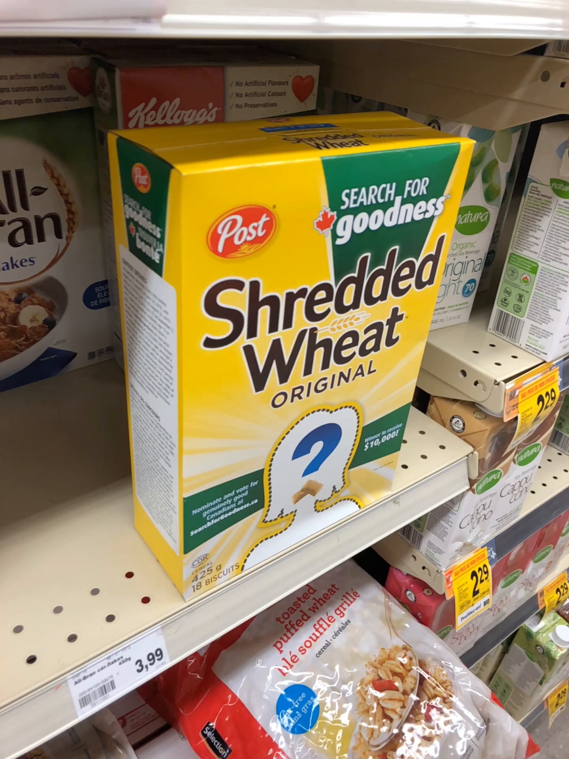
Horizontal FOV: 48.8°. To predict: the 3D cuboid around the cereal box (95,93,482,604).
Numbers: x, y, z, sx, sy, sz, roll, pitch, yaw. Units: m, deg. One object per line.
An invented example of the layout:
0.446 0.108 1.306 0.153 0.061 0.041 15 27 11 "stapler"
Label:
0.000 -0.021 0.413 0.201 0.288 0.080 -20 40 -33 "cereal box"
